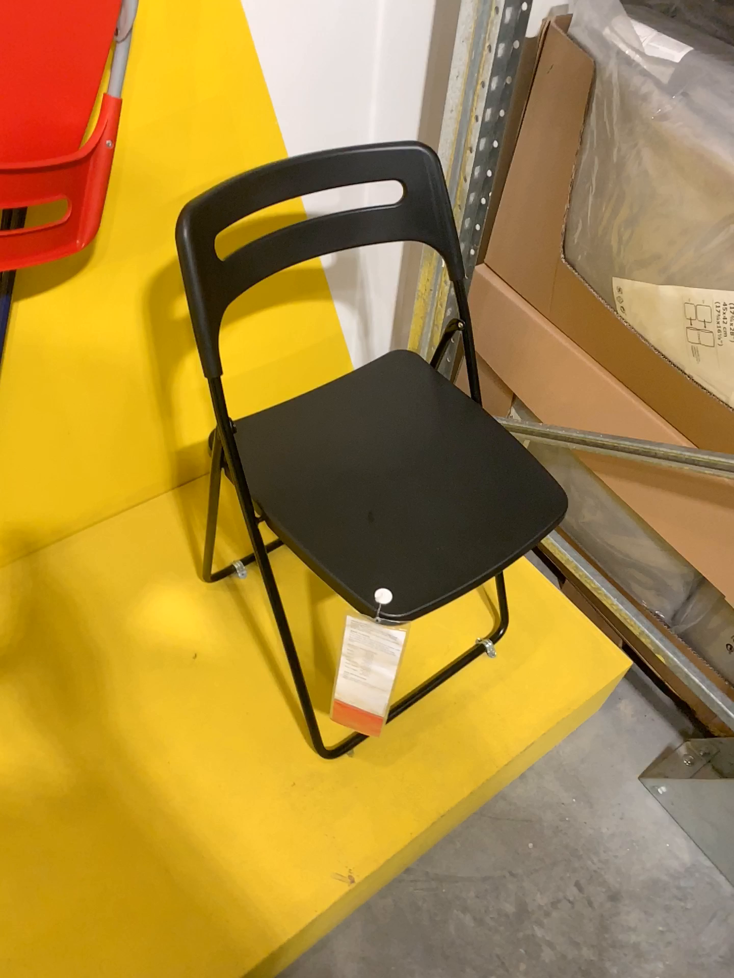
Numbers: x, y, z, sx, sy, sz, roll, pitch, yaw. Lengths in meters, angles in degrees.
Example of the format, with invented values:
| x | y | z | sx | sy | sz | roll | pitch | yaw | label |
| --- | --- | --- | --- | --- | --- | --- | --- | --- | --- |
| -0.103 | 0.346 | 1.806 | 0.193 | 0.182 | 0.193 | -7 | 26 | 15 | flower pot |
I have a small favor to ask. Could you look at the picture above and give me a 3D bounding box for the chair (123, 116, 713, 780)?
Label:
| x | y | z | sx | sy | sz | roll | pitch | yaw | label |
| --- | --- | --- | --- | --- | --- | --- | --- | --- | --- |
| 0.021 | -0.033 | 1.040 | 0.440 | 0.698 | 0.441 | -28 | 57 | -27 | chair |
